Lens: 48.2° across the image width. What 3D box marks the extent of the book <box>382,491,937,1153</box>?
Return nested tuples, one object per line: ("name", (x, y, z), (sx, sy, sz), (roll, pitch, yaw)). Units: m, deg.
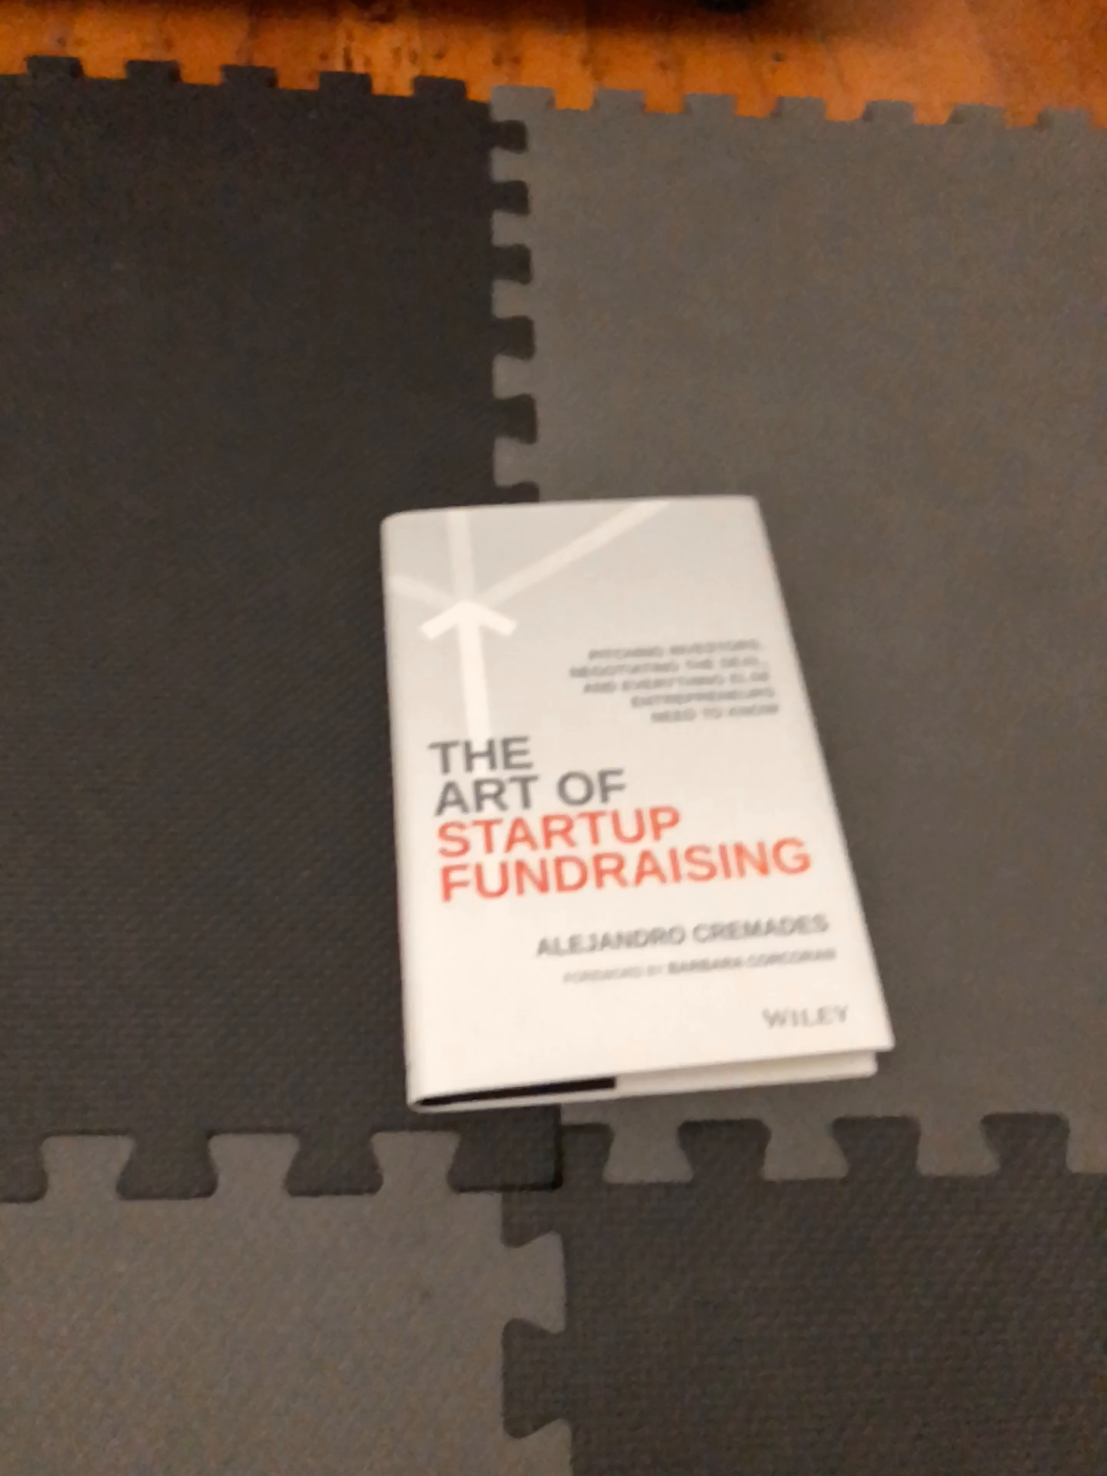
("book", (0.025, 0.015, 0.460), (0.170, 0.030, 0.251), (-2, 60, -6))
